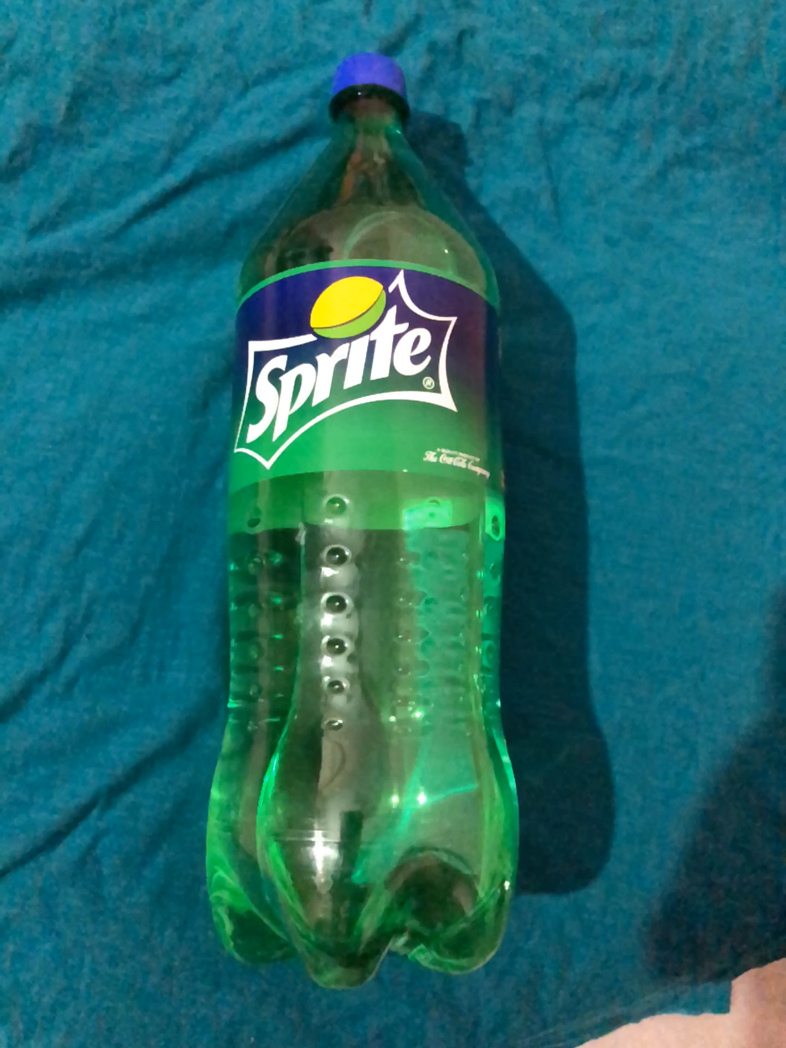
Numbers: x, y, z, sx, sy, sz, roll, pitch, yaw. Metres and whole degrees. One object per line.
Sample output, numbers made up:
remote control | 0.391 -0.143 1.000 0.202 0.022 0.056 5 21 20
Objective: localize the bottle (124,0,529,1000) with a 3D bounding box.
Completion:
bottle | -0.017 -0.028 0.300 0.110 0.070 0.330 1 80 -1
